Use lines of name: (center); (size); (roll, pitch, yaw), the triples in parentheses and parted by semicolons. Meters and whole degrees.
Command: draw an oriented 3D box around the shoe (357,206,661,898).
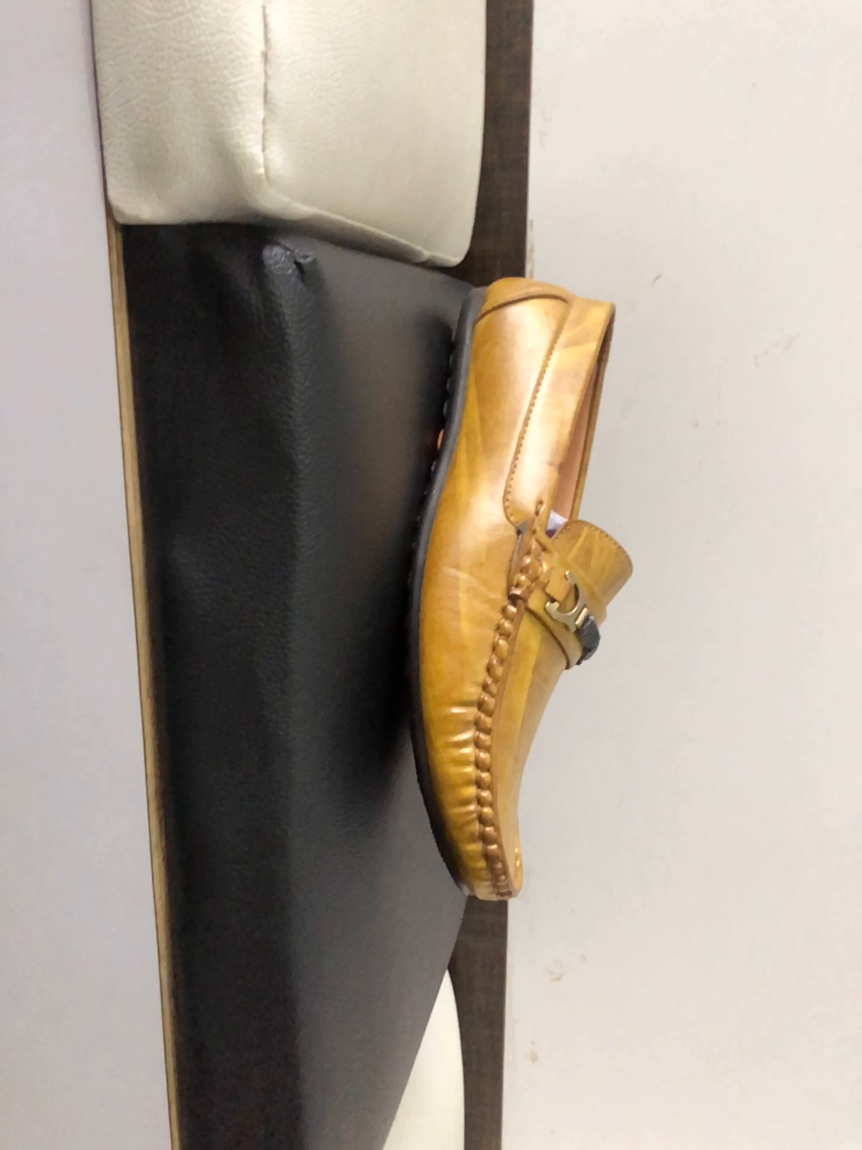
shoe: (0.051, -0.002, 0.443); (0.171, 0.090, 0.270); (65, 30, -66)
